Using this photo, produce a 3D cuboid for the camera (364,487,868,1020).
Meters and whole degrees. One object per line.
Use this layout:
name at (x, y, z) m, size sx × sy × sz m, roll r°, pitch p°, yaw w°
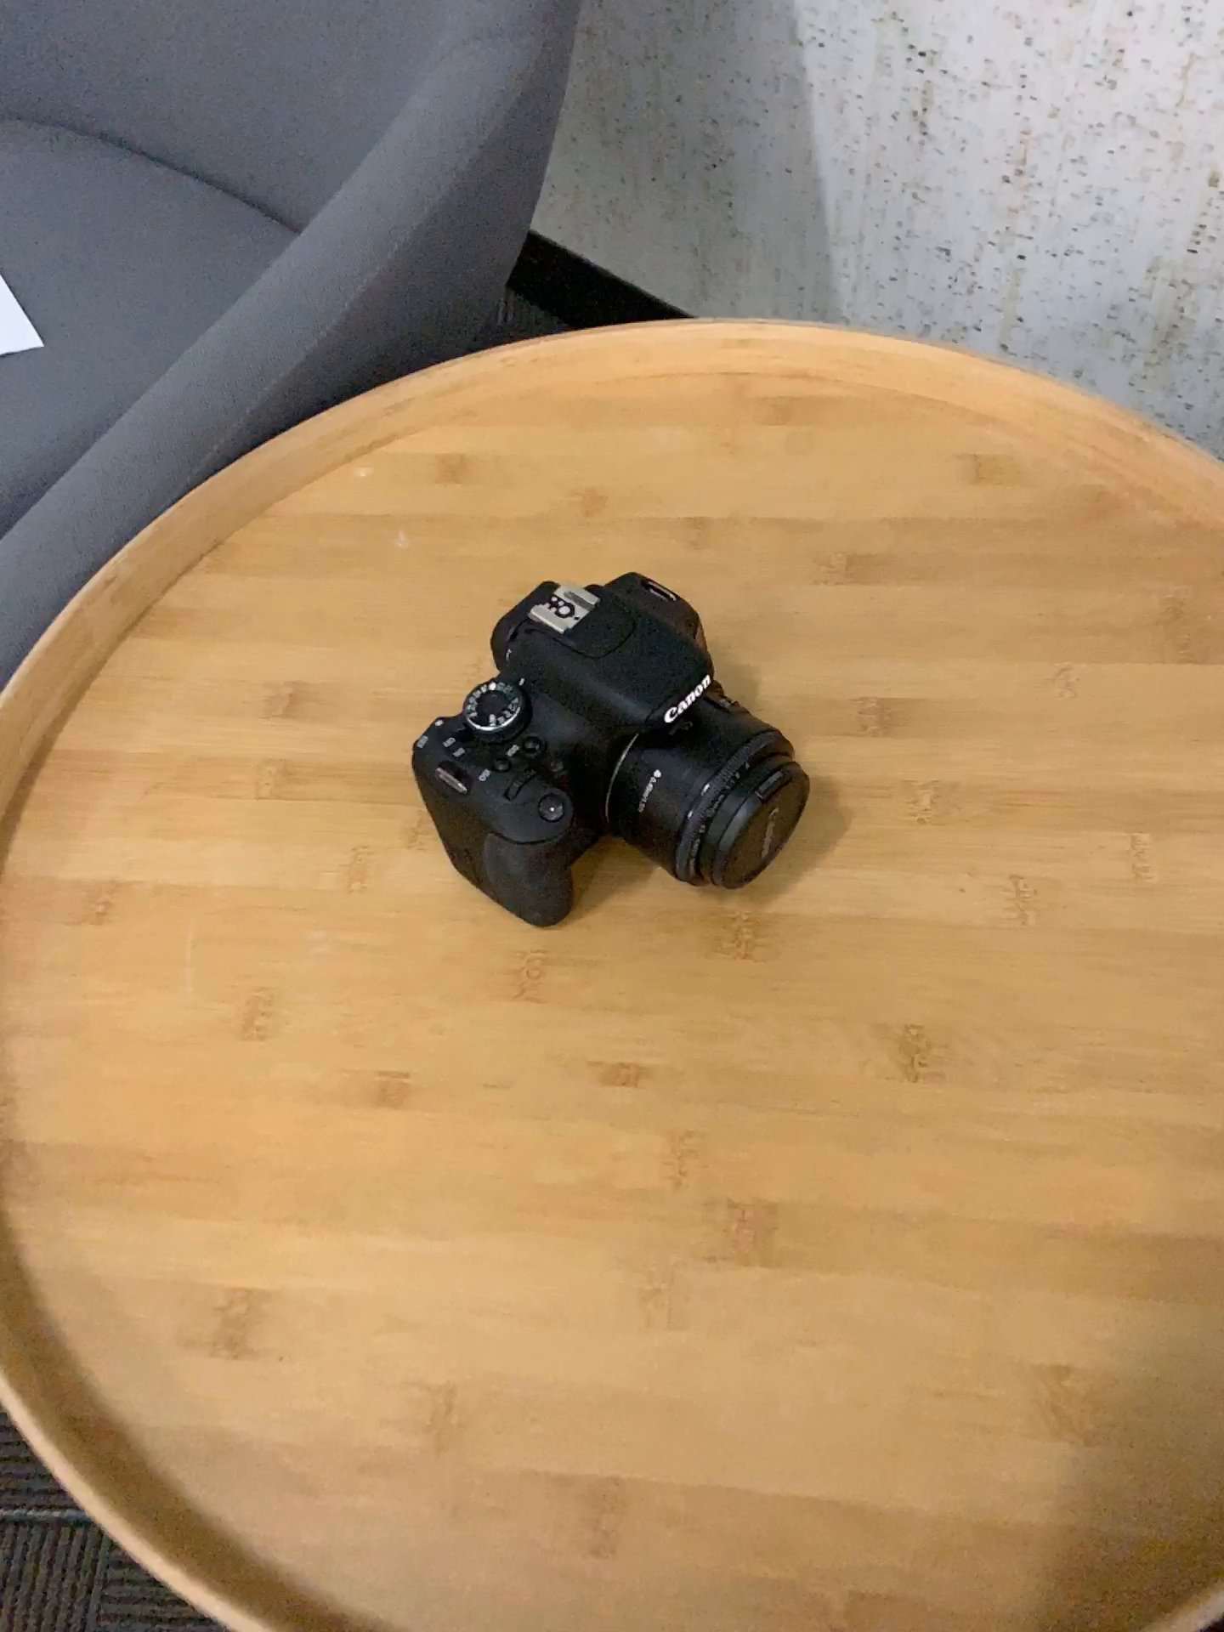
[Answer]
camera at (0.006, -0.025, 0.475) m, size 0.117 × 0.100 × 0.133 m, roll 34°, pitch 66°, yaw 24°
